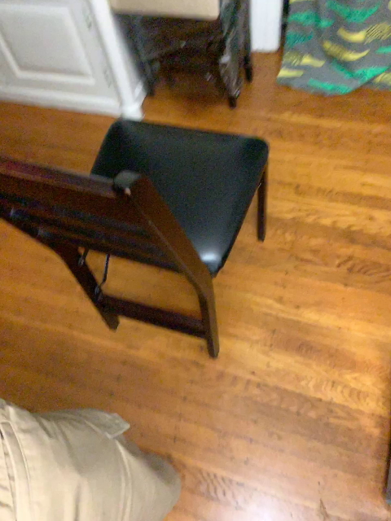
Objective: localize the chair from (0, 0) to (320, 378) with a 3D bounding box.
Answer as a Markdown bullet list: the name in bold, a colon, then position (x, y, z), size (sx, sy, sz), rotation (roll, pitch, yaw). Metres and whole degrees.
- **chair**: position (-0.091, -0.179, 0.866), size (0.491, 0.867, 0.551), rotation (11, 63, 13)
